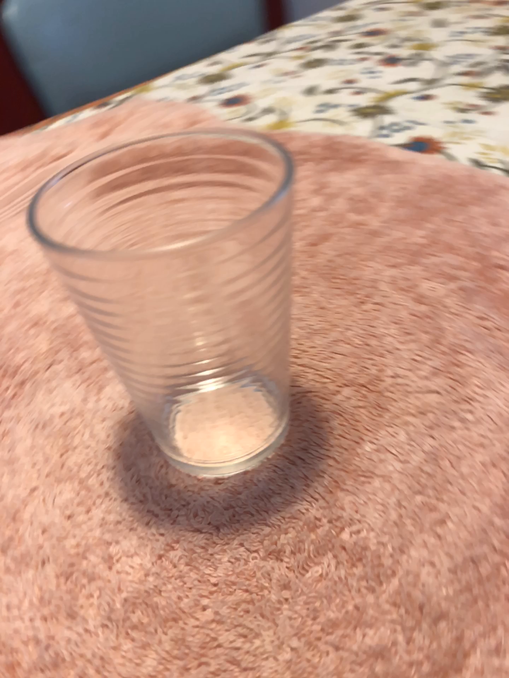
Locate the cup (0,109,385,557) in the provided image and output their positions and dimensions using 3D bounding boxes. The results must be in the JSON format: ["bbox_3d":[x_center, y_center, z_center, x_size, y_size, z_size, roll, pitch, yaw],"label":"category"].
[{"bbox_3d":[-0.016,-0.007,0.179,0.080,0.089,0.080,-6,42,5],"label":"cup"}]
